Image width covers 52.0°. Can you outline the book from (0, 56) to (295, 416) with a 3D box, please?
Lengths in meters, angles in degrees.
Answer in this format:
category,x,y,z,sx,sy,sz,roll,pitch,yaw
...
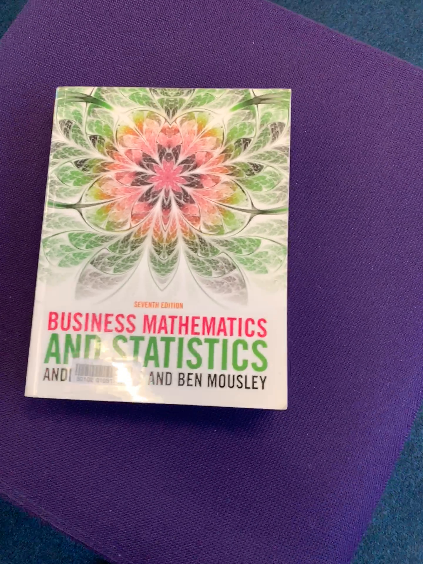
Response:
category,x,y,z,sx,sy,sz,roll,pitch,yaw
book,-0.041,-0.040,0.335,0.200,0.050,0.260,2,80,2
